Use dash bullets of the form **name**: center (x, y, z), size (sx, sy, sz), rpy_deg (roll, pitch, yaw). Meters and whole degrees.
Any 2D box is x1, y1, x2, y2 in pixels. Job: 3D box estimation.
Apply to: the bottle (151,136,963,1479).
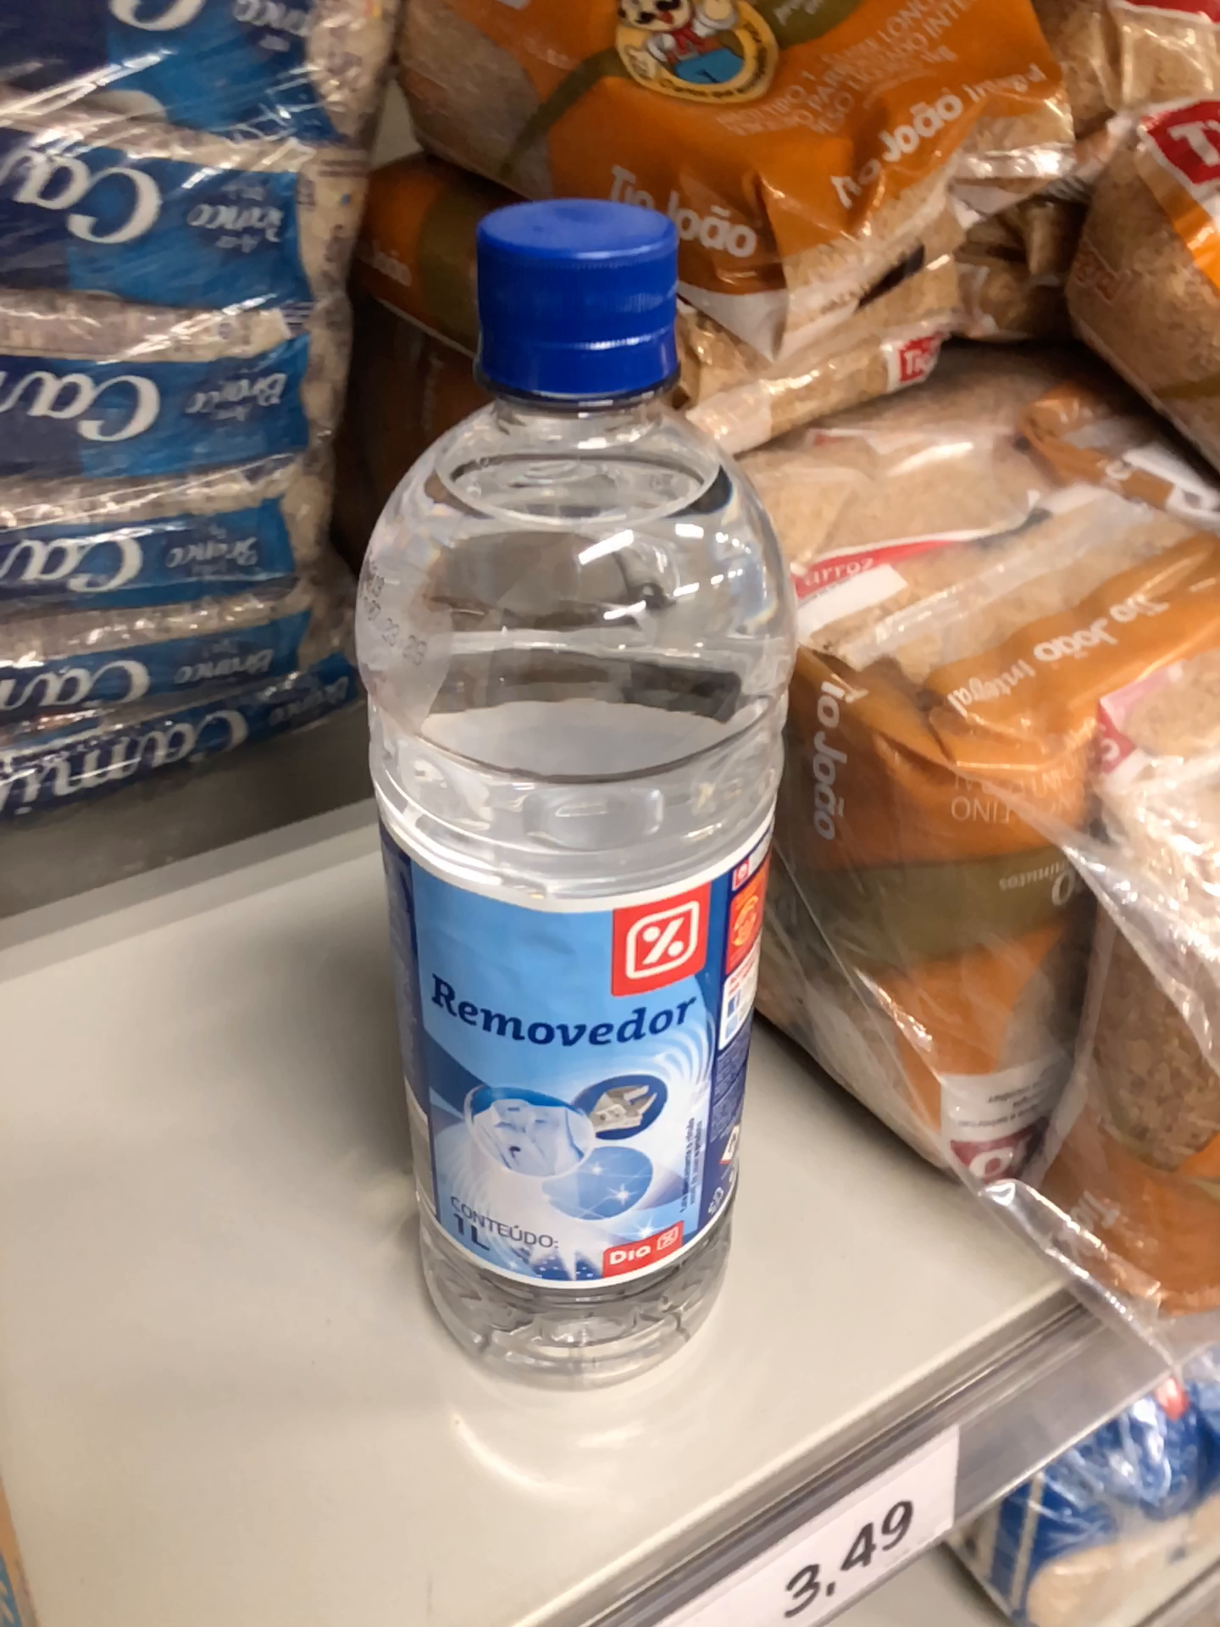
- **bottle**: center (-0.006, 0.018, 0.277), size (0.080, 0.258, 0.091), rpy_deg (22, 44, 22)
